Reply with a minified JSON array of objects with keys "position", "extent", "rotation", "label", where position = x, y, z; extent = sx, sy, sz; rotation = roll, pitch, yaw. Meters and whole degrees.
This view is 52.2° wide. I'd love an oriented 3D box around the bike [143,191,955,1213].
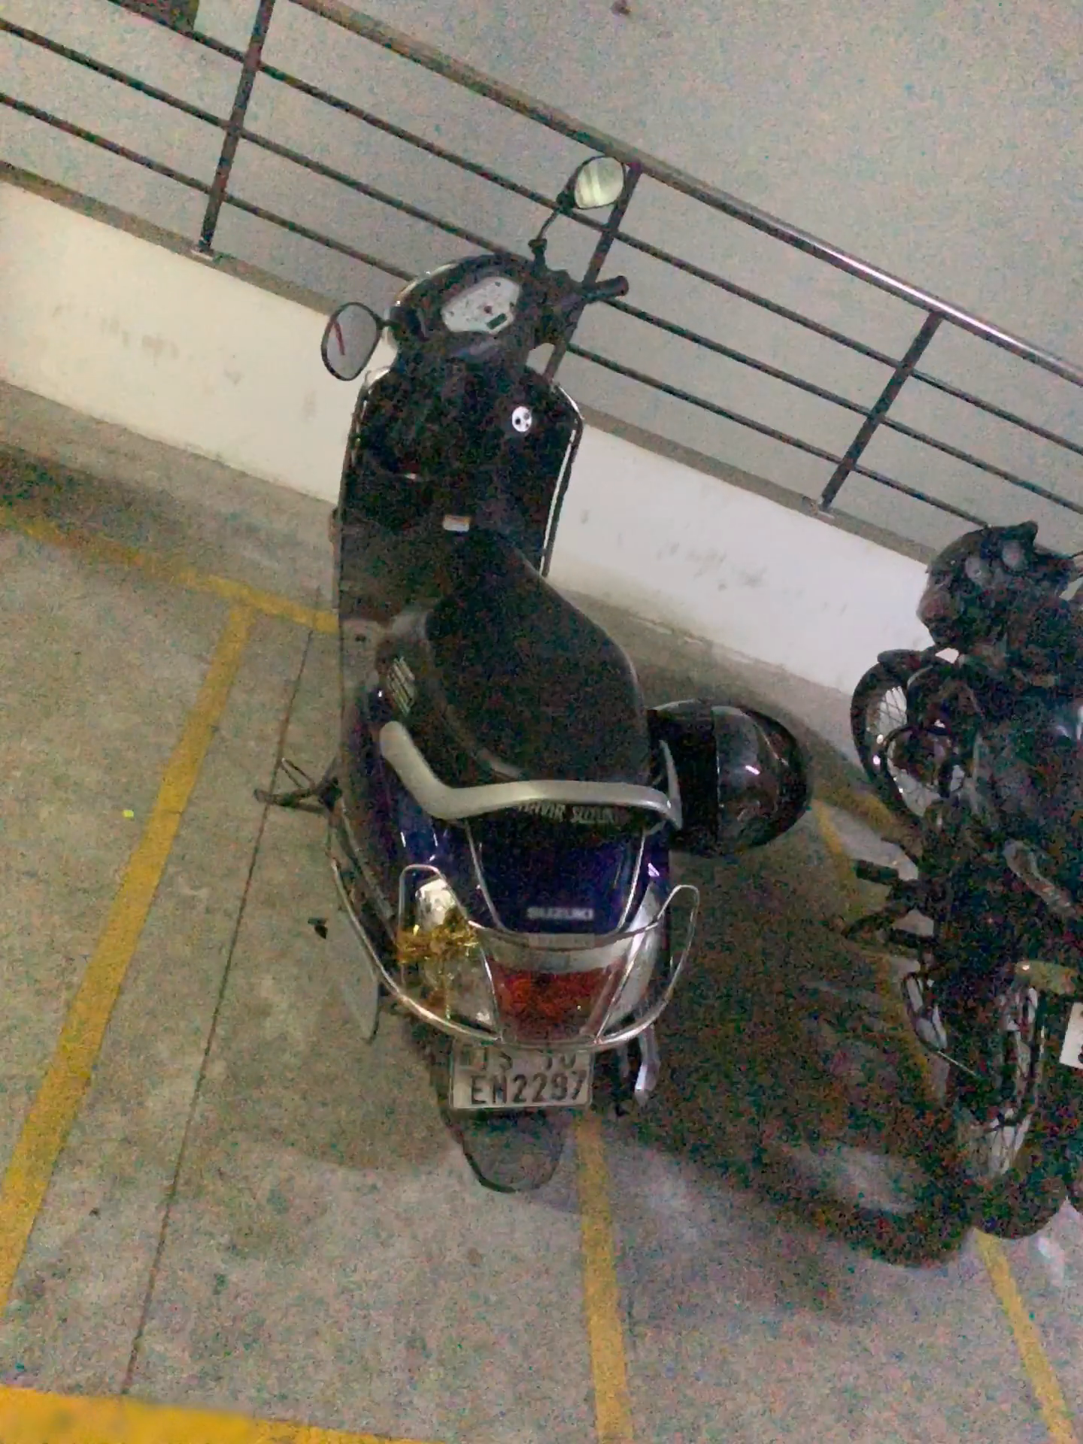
[{"position":[-0.255,-0.119,1.971],"extent":[0.623,1.157,1.479],"rotation":[12,30,-26],"label":"bike"}]
